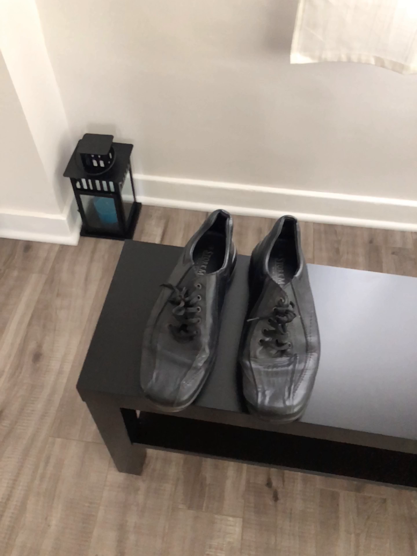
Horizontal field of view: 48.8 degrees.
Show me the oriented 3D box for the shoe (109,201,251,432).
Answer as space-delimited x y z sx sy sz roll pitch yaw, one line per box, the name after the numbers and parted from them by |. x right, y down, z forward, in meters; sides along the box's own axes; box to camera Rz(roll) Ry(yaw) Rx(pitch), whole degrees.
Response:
-0.026 0.043 0.633 0.110 0.110 0.286 12 55 7 | shoe

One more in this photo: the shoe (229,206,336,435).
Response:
0.098 0.048 0.624 0.110 0.110 0.283 6 55 3 | shoe
